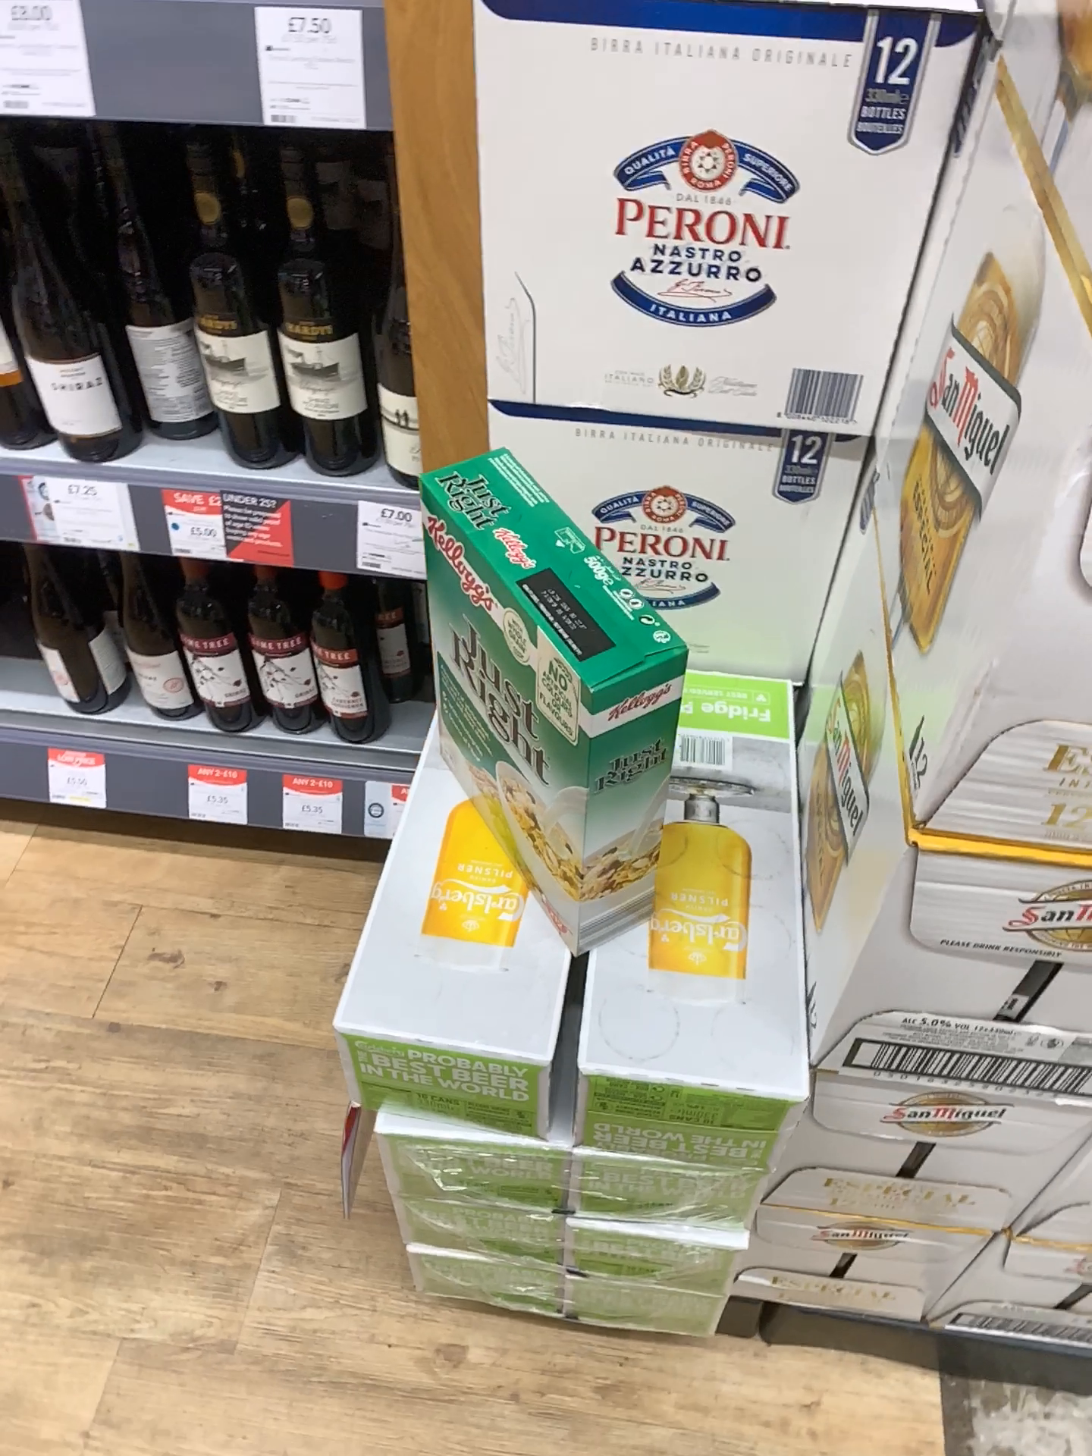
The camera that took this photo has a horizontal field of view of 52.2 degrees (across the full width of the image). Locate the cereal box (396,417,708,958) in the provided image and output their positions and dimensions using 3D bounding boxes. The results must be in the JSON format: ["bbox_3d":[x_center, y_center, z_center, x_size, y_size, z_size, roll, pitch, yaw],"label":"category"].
[{"bbox_3d":[-0.004,-0.018,0.640,0.070,0.238,0.191,-22,52,-19],"label":"cereal box"}]
